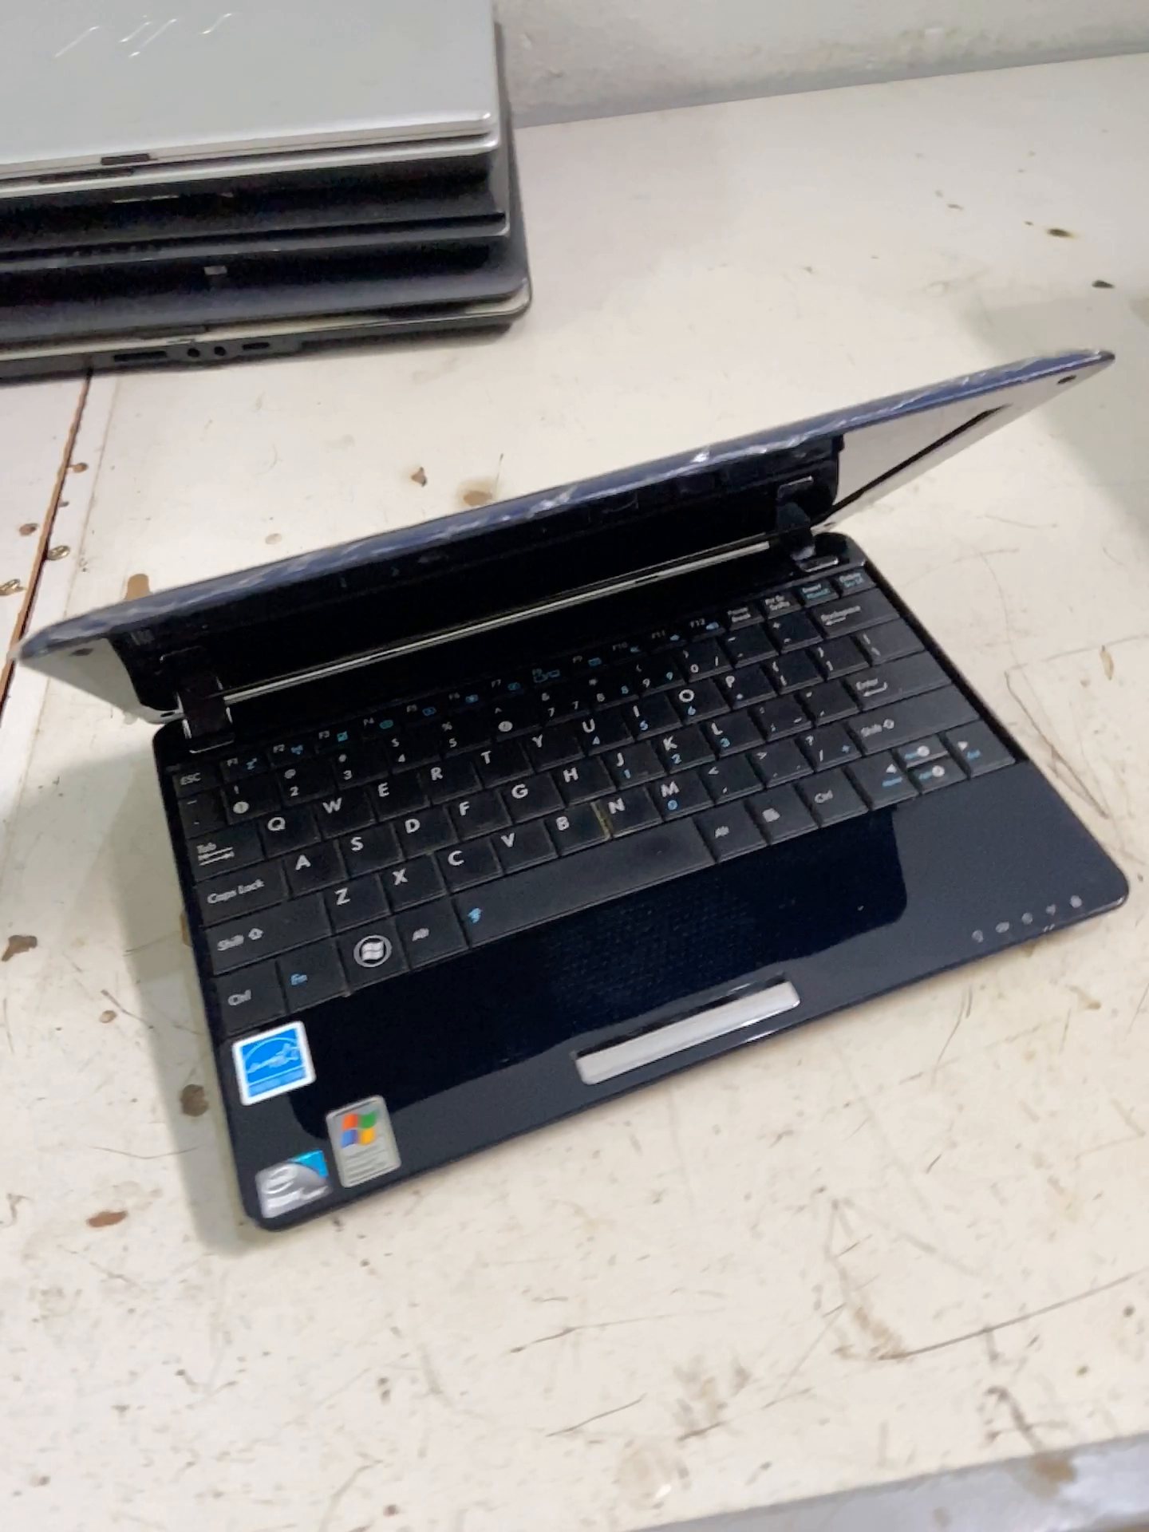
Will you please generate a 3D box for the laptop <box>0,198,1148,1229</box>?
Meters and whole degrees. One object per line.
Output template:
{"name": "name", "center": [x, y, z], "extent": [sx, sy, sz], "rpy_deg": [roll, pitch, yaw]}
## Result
{"name": "laptop", "center": [0.007, -0.028, 0.323], "extent": [0.259, 0.121, 0.170], "rpy_deg": [-18, 52, -12]}
